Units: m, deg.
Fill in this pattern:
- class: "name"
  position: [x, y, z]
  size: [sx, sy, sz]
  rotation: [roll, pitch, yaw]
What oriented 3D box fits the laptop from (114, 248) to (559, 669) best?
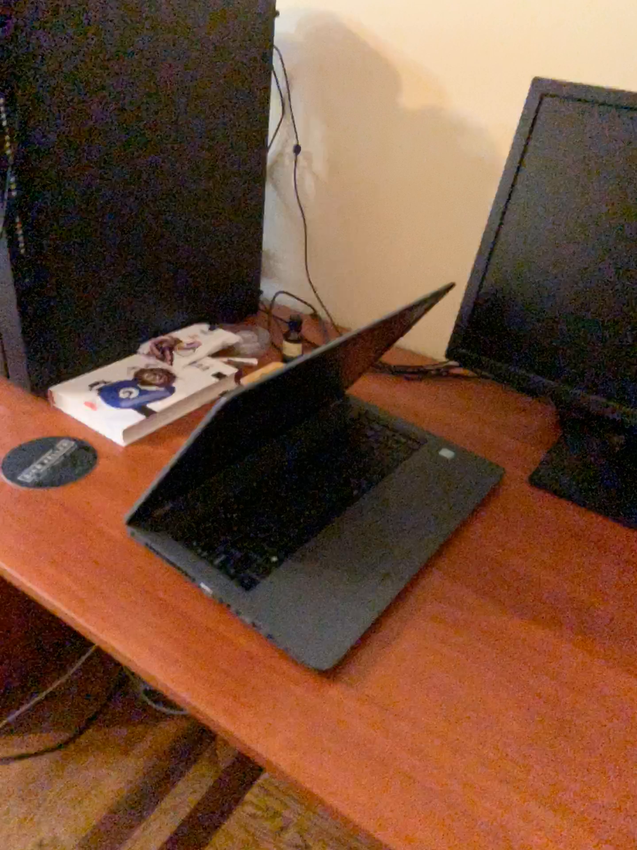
- class: "laptop"
  position: [0.031, -0.010, 0.655]
  size: [0.249, 0.207, 0.376]
  rotation: [27, 37, 28]
